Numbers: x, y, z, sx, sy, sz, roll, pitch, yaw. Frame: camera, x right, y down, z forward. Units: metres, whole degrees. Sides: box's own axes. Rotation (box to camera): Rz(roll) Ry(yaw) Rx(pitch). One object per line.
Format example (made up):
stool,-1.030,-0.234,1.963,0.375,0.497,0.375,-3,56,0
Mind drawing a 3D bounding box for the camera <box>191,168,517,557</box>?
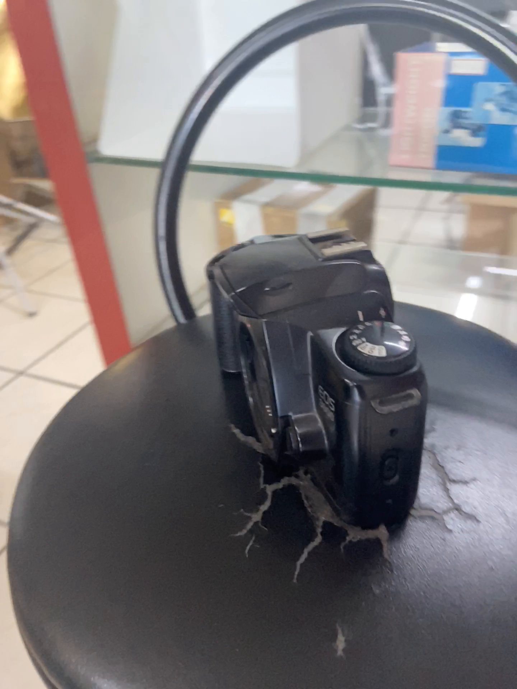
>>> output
camera,0.026,-0.007,0.227,0.070,0.089,0.141,-13,33,-13
